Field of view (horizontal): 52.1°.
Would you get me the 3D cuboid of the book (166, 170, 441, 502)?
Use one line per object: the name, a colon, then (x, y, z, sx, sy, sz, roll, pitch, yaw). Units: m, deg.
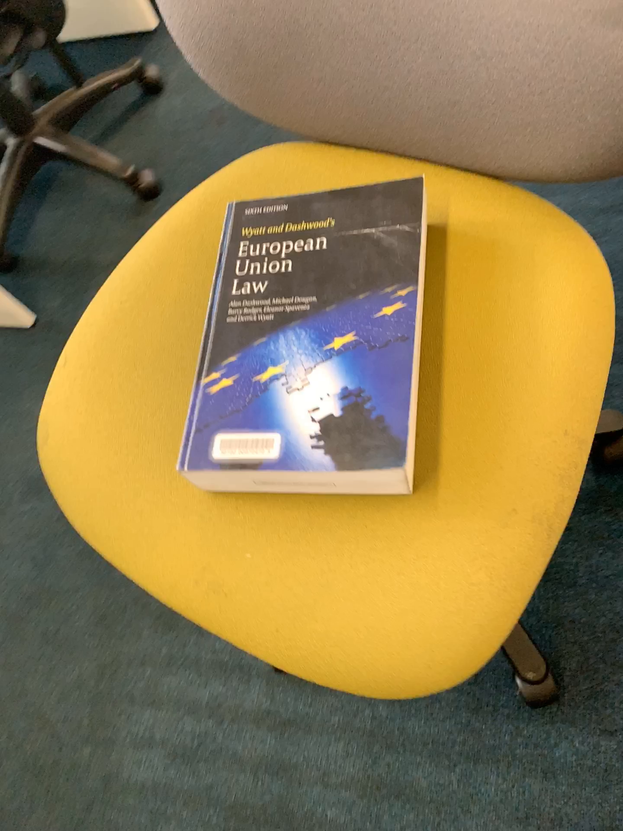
book: (0.004, -0.064, 0.502, 0.181, 0.060, 0.251, -1, 66, 17)
